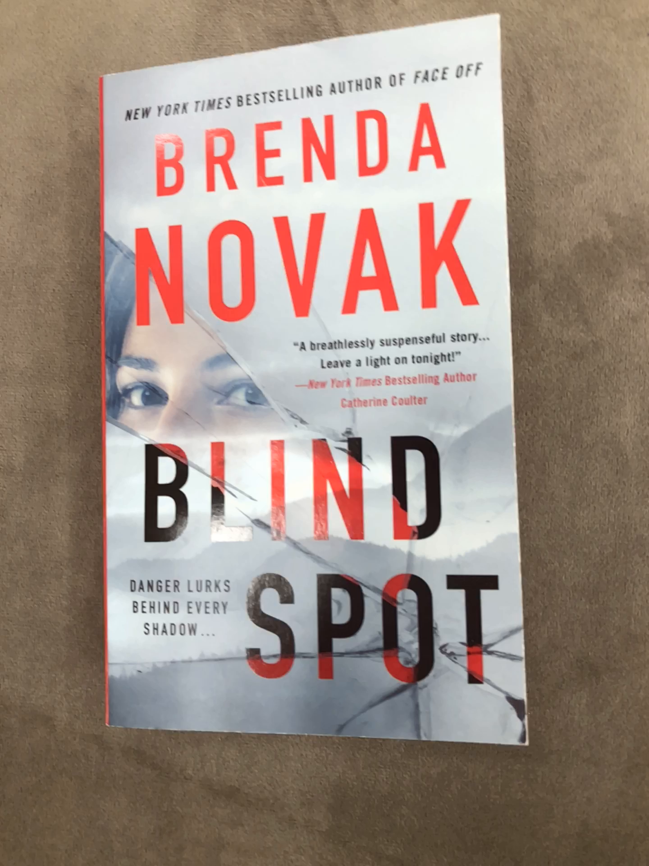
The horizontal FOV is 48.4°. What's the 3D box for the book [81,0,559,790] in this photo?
[{"bbox_3d":[-0.002,-0.012,0.206,0.120,0.050,0.190,-2,87,15],"label":"book"}]
